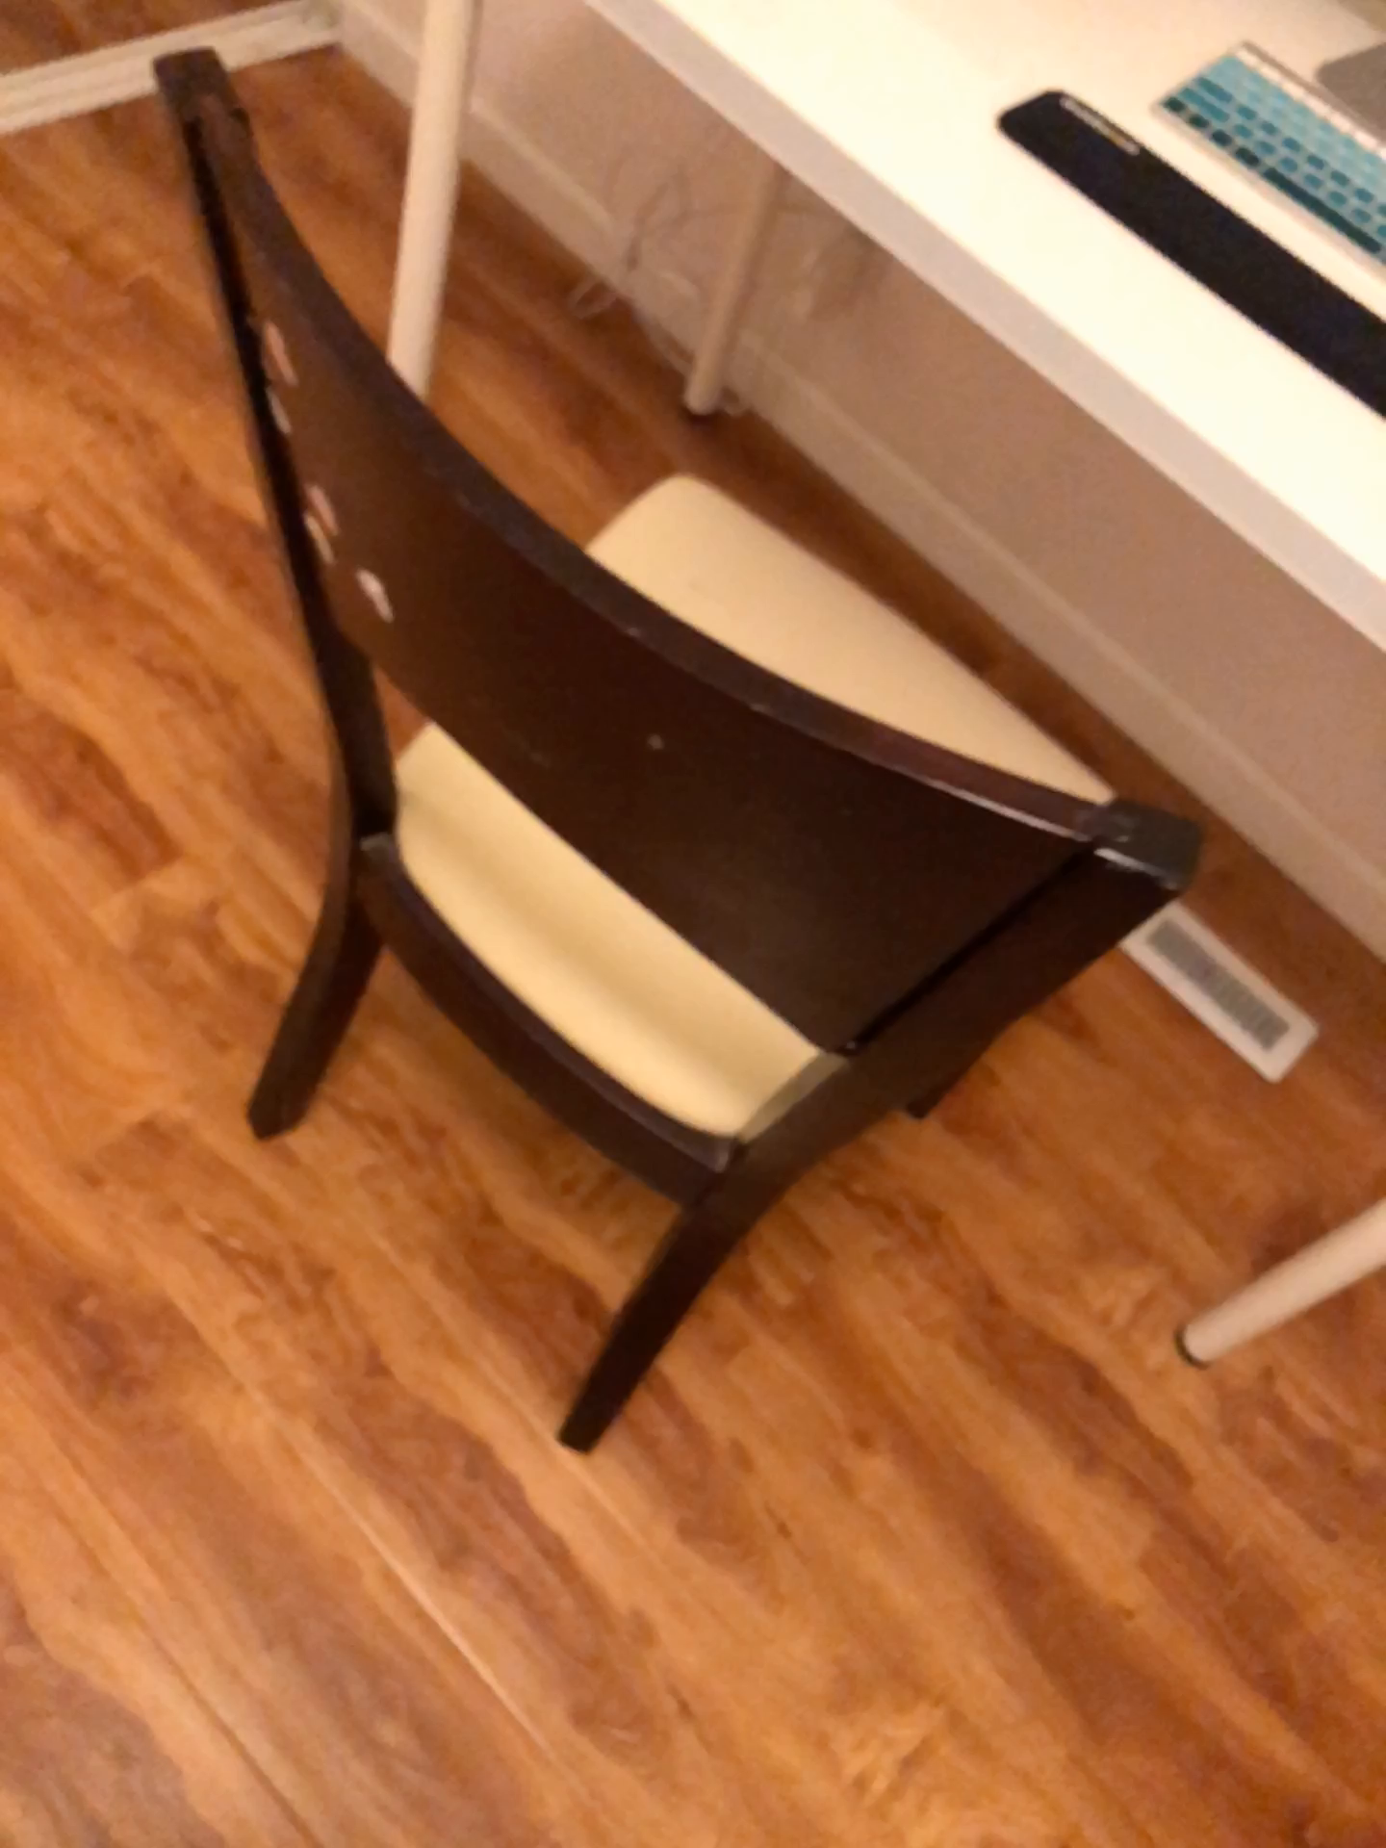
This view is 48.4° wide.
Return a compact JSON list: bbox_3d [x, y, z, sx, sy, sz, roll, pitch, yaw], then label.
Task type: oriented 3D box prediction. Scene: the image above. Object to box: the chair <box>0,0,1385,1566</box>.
[{"bbox_3d":[0.032,-0.068,0.932,0.530,0.846,0.512,40,59,10],"label":"chair"}]
